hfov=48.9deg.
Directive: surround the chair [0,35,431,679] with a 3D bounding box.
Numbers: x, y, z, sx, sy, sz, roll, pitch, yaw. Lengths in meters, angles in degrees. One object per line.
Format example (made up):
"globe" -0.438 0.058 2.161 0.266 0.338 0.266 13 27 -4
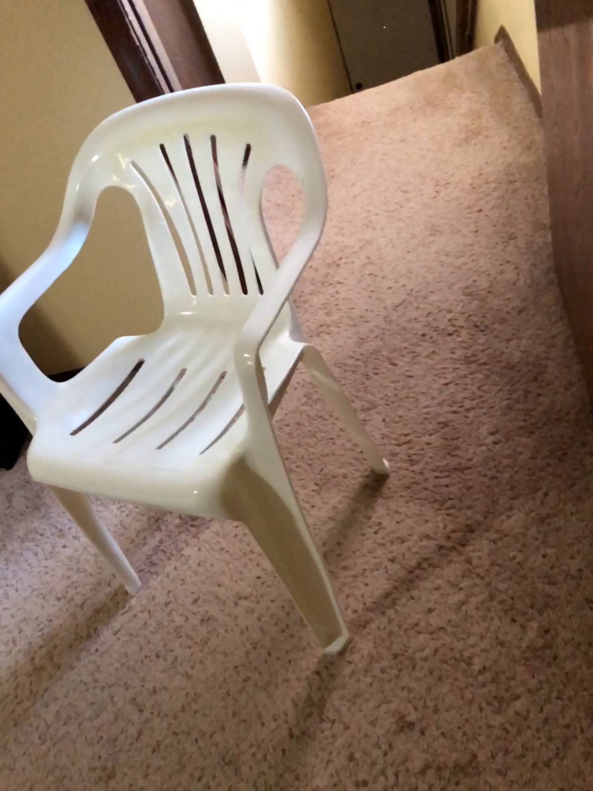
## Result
"chair" -0.204 -0.012 1.034 0.581 0.768 0.470 5 50 30
